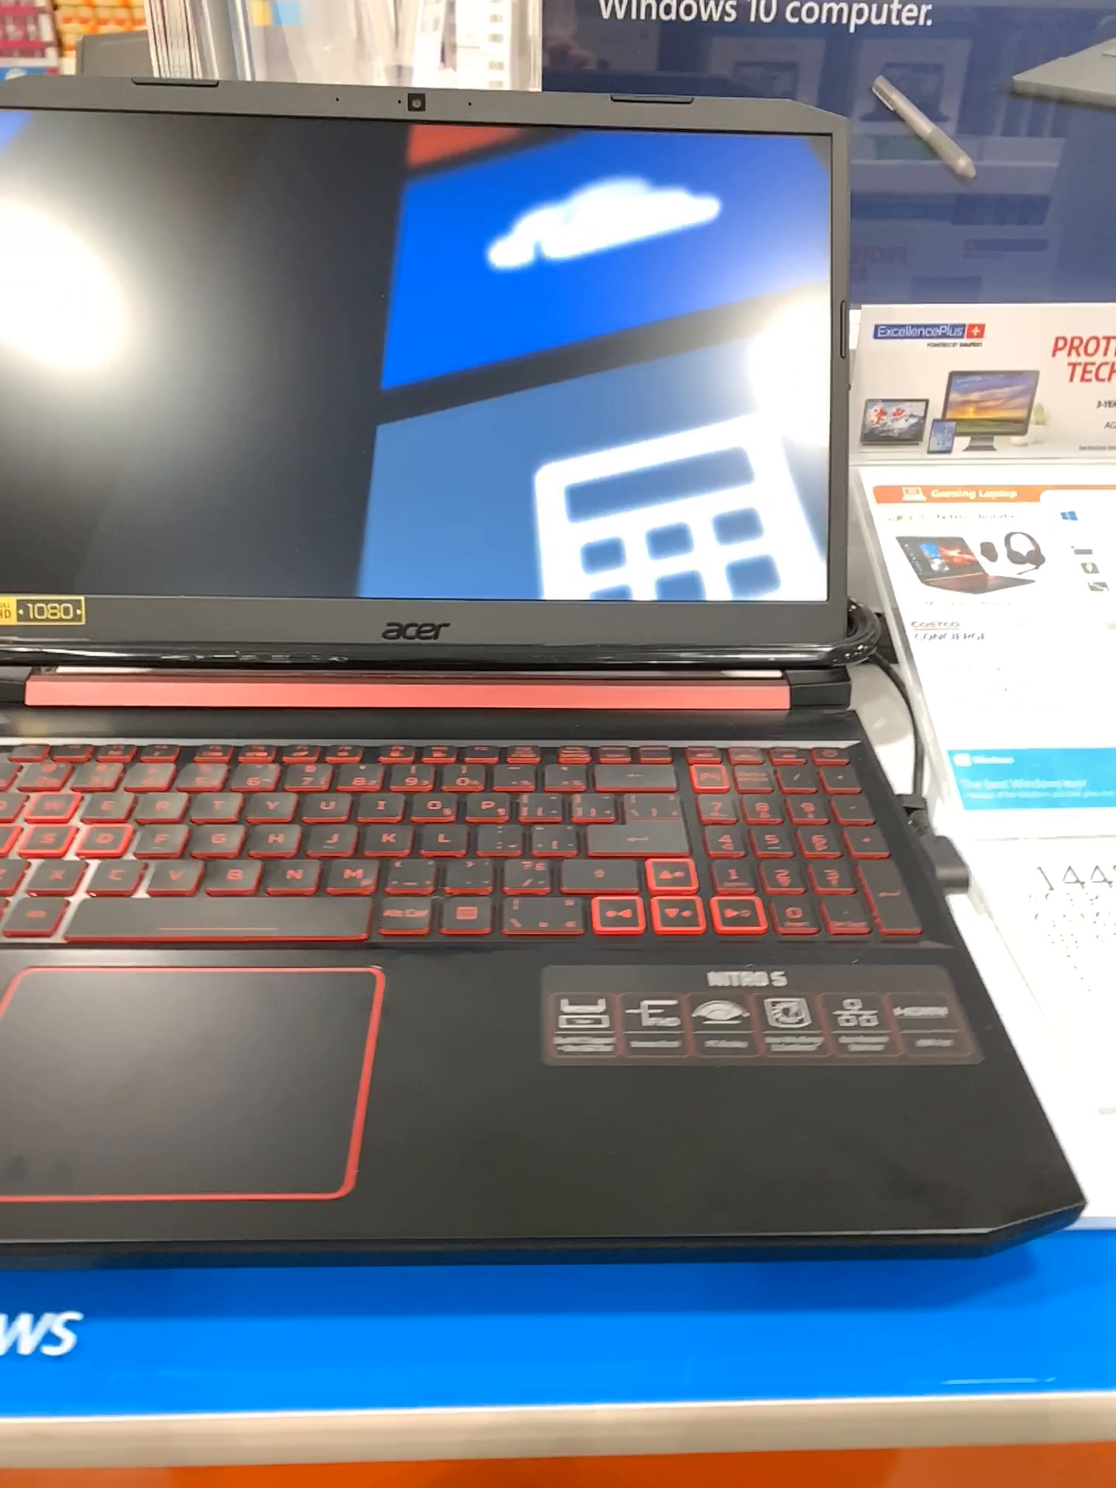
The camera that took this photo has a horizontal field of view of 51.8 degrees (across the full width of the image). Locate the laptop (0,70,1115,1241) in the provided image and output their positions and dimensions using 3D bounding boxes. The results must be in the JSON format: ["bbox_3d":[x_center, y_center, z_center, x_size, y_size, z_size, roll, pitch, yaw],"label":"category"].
[{"bbox_3d":[-0.061,-0.083,0.372,0.358,0.198,0.381,1,34,-1],"label":"laptop"}]
